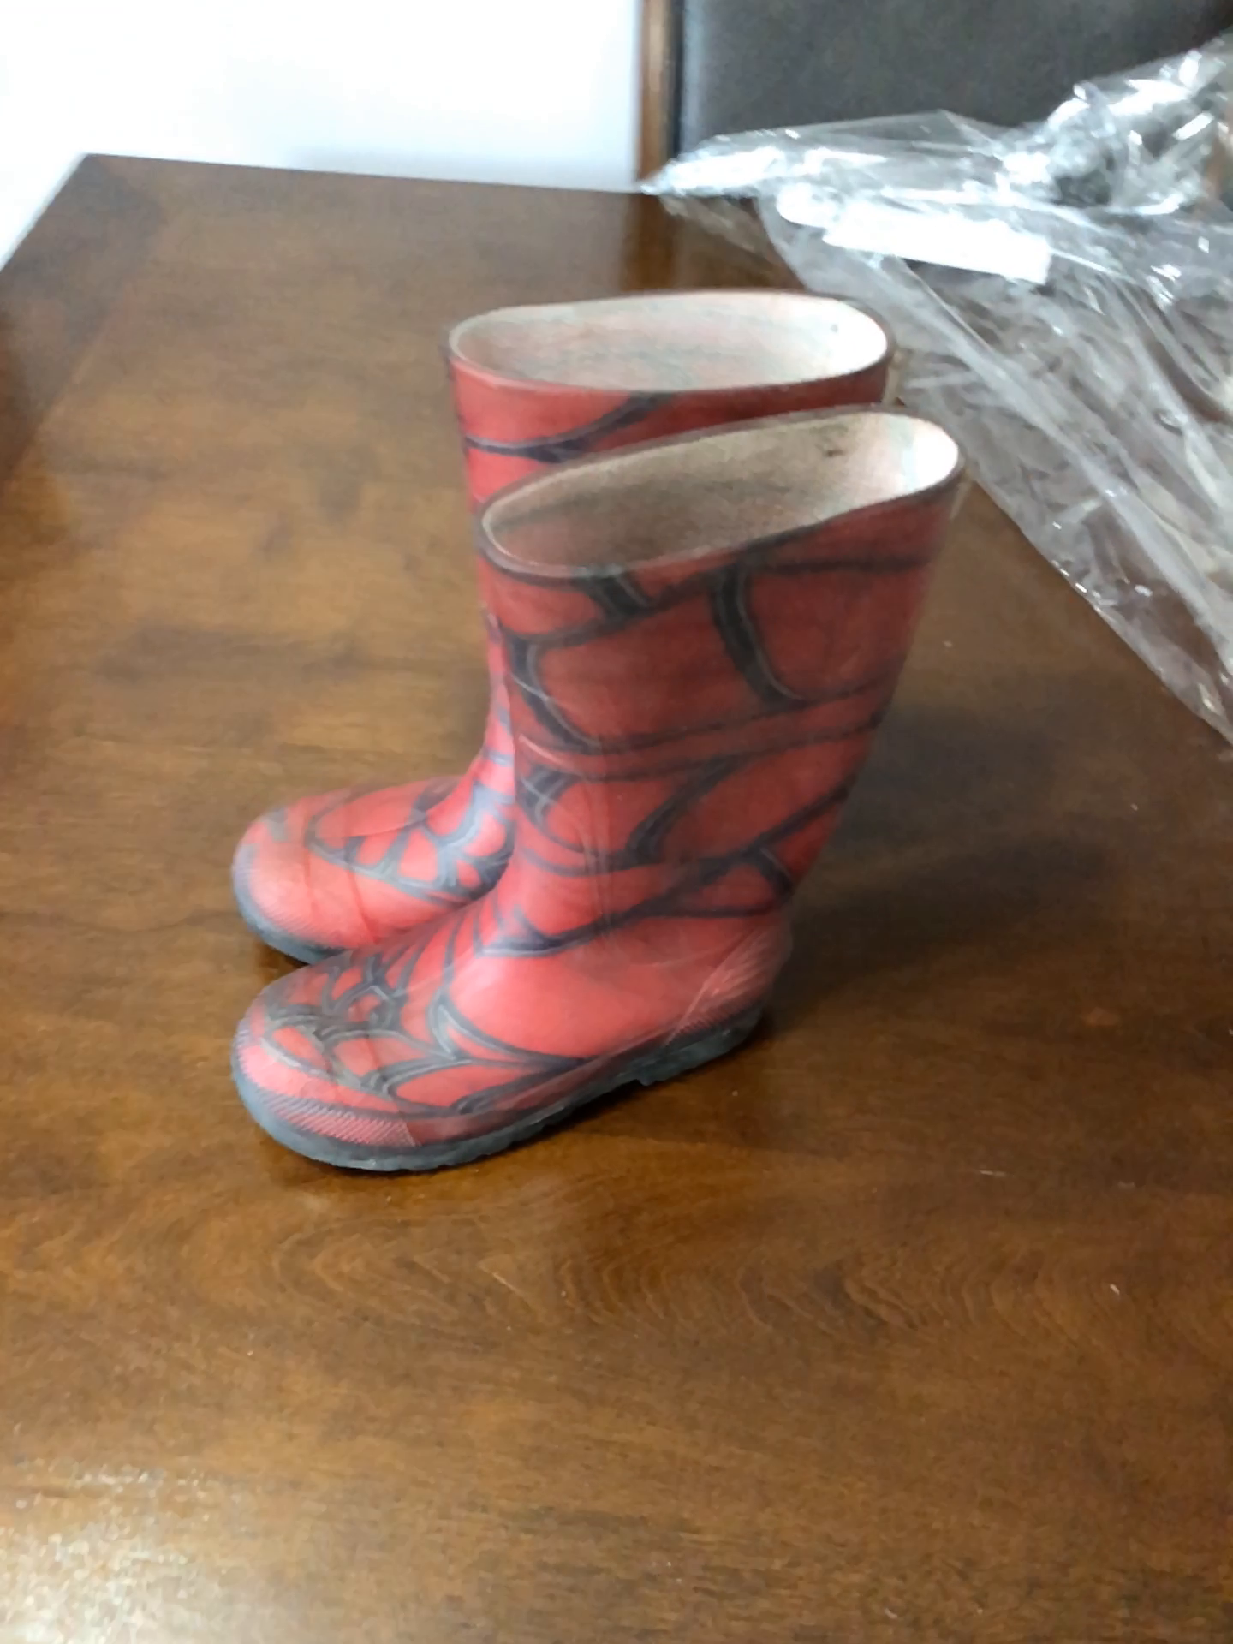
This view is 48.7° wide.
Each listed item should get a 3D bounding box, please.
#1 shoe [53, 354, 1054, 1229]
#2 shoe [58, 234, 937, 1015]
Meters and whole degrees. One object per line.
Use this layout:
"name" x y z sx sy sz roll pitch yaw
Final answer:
"shoe" -0.019 0.004 0.410 0.220 0.239 0.080 -13 51 -14
"shoe" -0.037 -0.052 0.454 0.220 0.239 0.080 -8 50 -10
